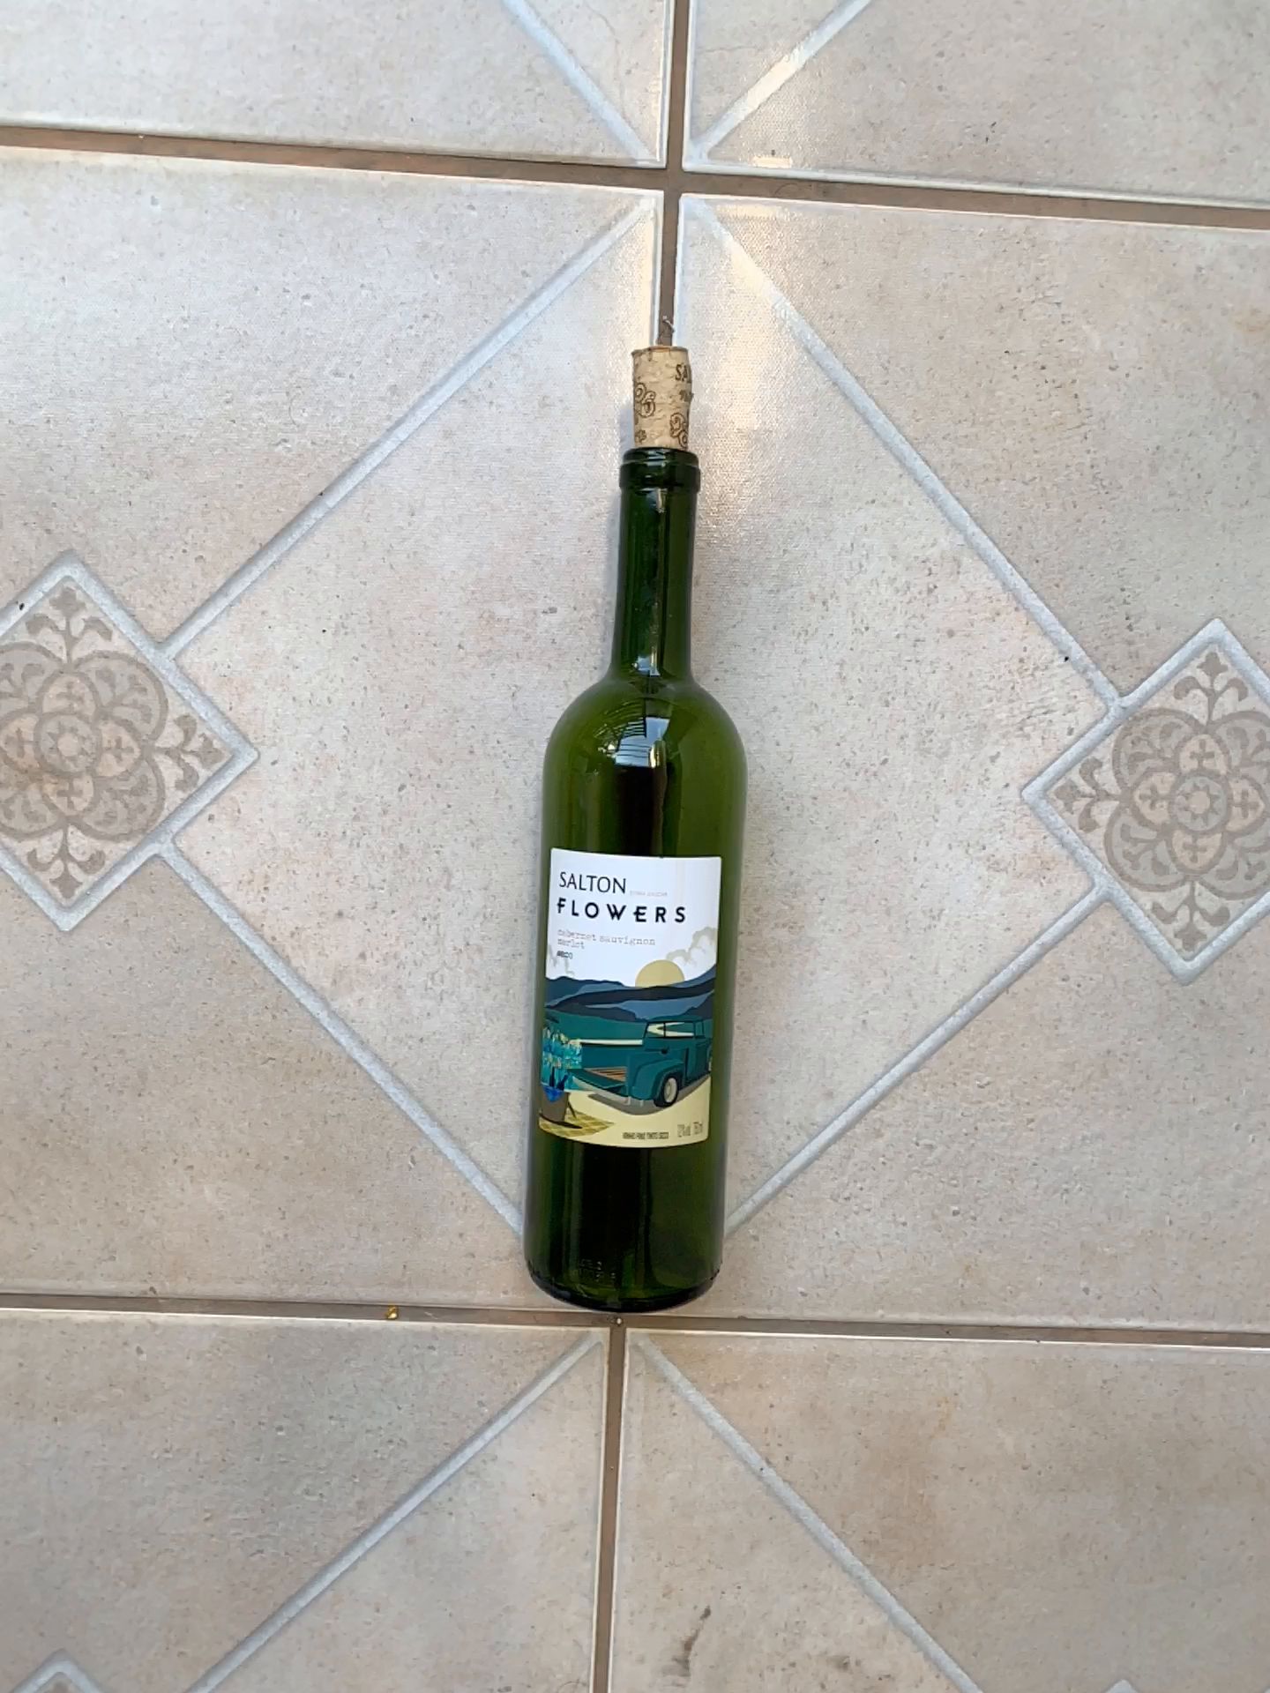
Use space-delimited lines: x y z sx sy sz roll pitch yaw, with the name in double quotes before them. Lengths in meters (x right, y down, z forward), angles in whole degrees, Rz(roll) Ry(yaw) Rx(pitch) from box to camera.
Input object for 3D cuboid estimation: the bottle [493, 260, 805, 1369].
"bottle" 0.006 -0.008 0.454 0.080 0.080 0.350 4 97 6
